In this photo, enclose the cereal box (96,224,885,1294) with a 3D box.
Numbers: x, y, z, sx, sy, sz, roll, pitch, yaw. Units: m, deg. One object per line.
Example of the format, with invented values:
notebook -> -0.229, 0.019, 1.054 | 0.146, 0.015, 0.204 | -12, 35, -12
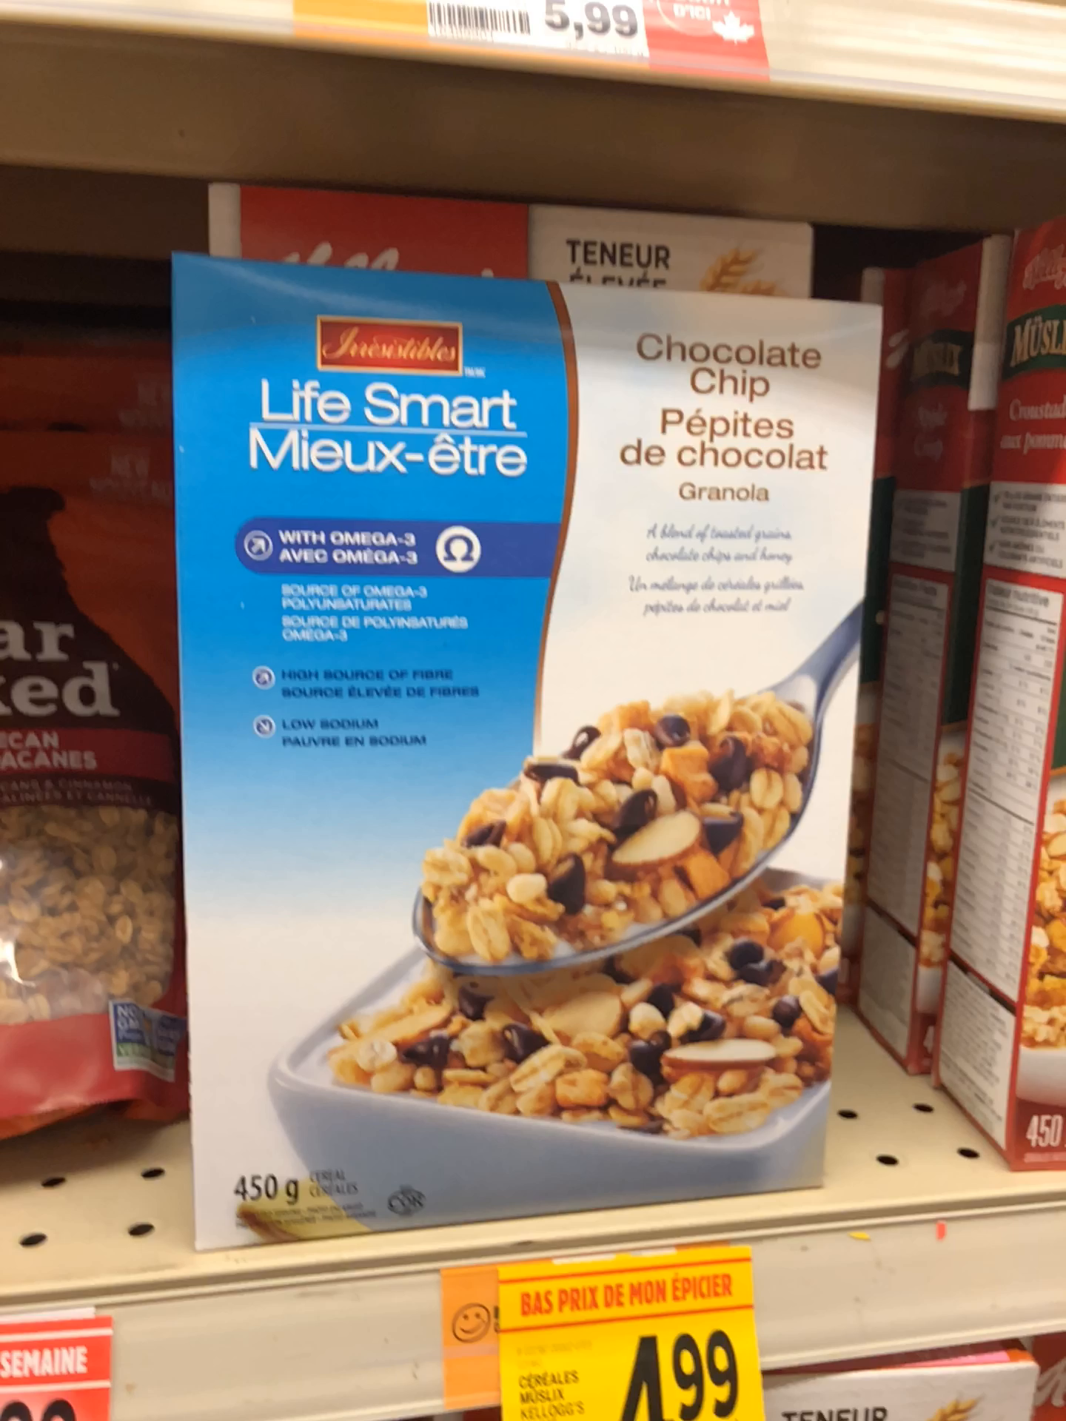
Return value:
cereal box -> -0.011, 0.013, 0.307 | 0.180, 0.239, 0.050 | -1, 8, -13
